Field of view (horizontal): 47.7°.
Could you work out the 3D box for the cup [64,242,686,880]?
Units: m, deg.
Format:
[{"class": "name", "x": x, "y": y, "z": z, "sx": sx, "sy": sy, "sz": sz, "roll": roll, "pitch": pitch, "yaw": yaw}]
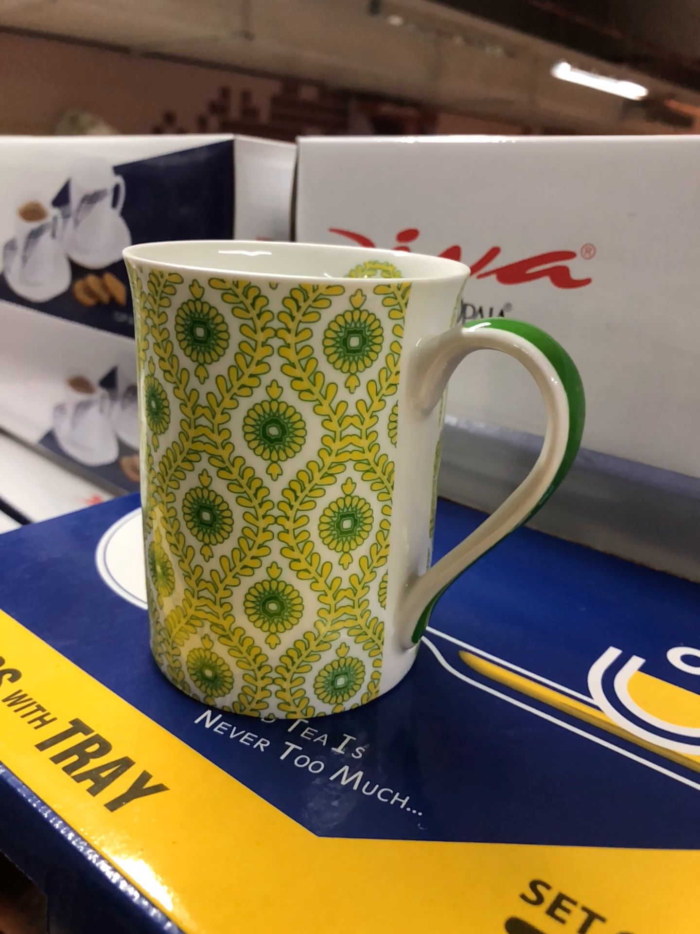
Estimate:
[{"class": "cup", "x": 0.000, "y": 0.003, "z": 0.169, "sx": 0.100, "sy": 0.090, "sz": 0.070, "roll": 20, "pitch": 25, "yaw": 39}]
